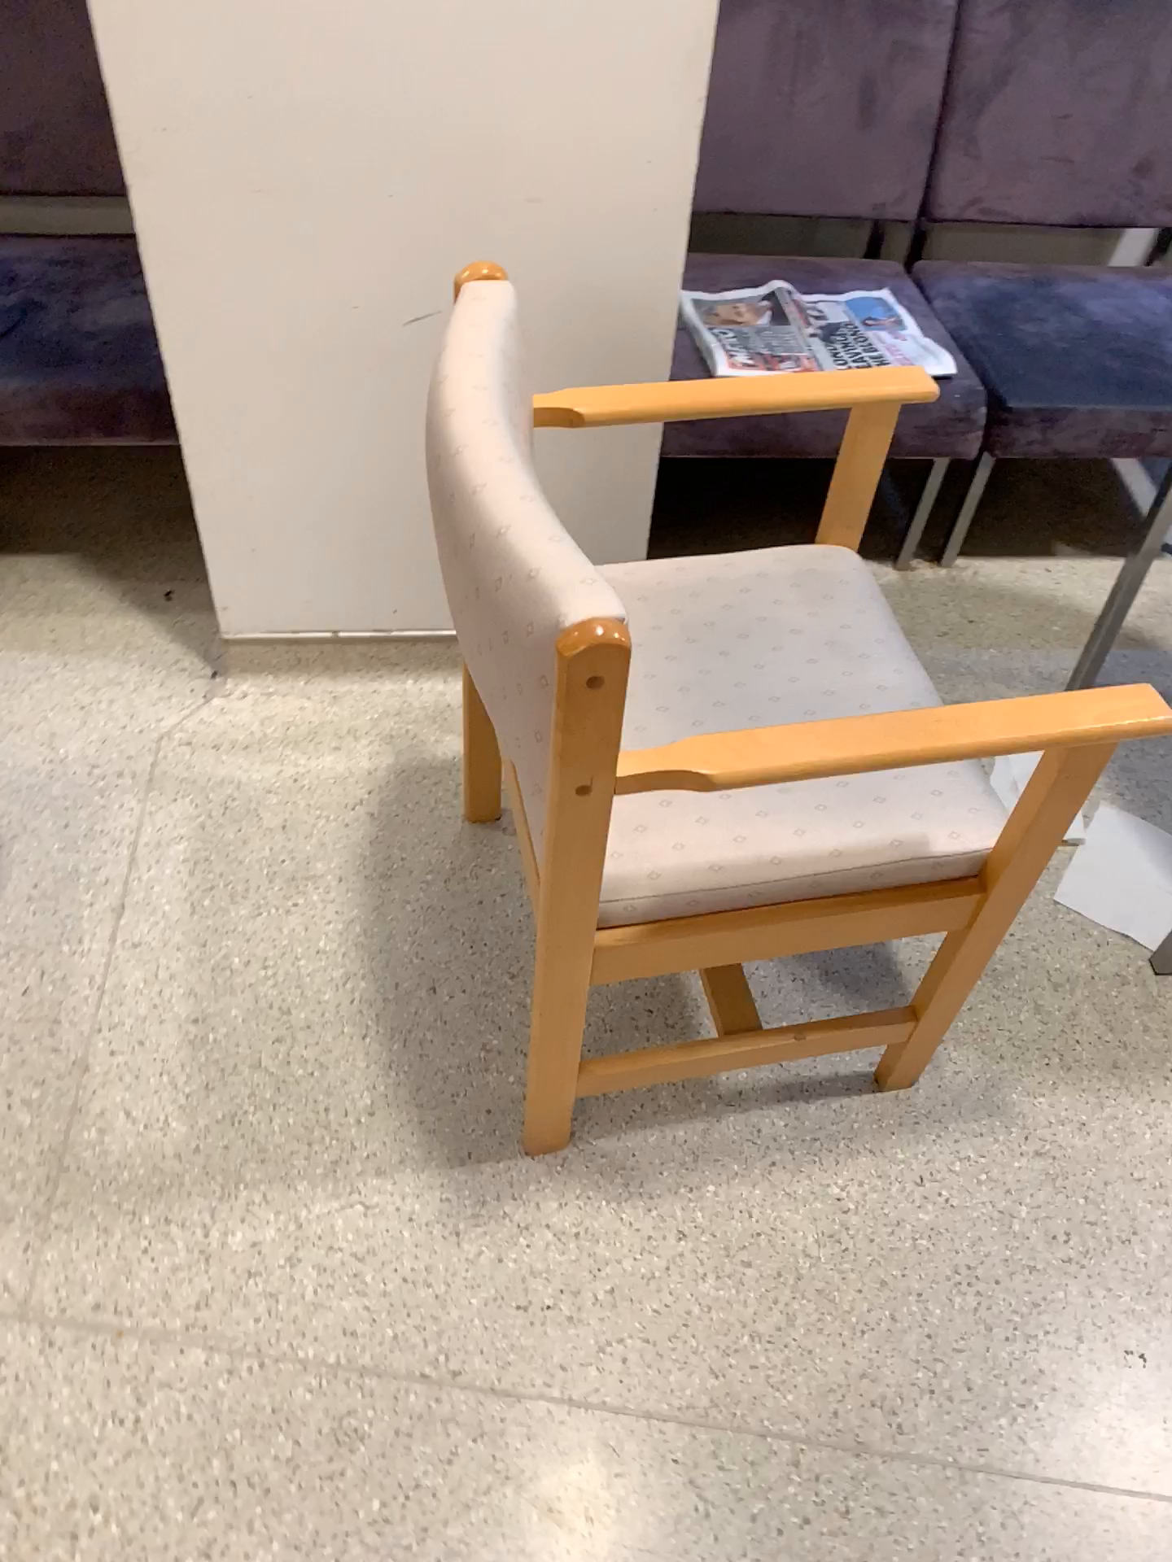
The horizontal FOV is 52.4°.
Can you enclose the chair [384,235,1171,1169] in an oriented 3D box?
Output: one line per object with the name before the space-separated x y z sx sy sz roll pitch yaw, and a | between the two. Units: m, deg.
chair | 0.157 -0.092 1.216 0.630 0.634 0.635 -6 49 -11
